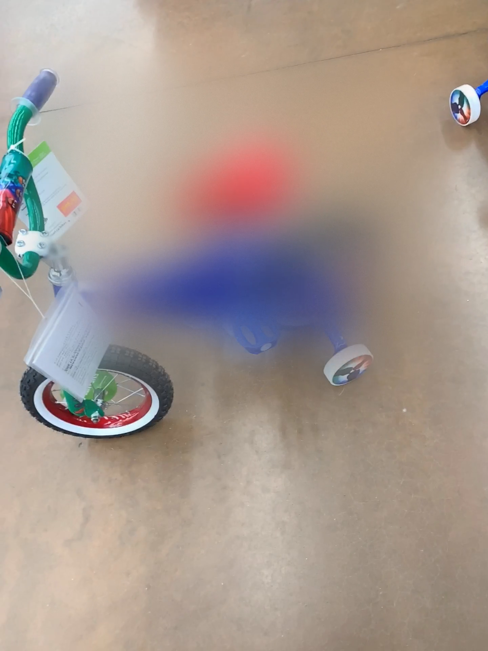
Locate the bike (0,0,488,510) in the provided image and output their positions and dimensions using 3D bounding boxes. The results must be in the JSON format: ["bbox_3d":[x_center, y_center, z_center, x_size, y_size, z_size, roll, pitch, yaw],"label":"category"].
[{"bbox_3d":[-0.130,-0.123,0.898,0.775,0.670,0.461,-25,57,-5],"label":"bike"}]
